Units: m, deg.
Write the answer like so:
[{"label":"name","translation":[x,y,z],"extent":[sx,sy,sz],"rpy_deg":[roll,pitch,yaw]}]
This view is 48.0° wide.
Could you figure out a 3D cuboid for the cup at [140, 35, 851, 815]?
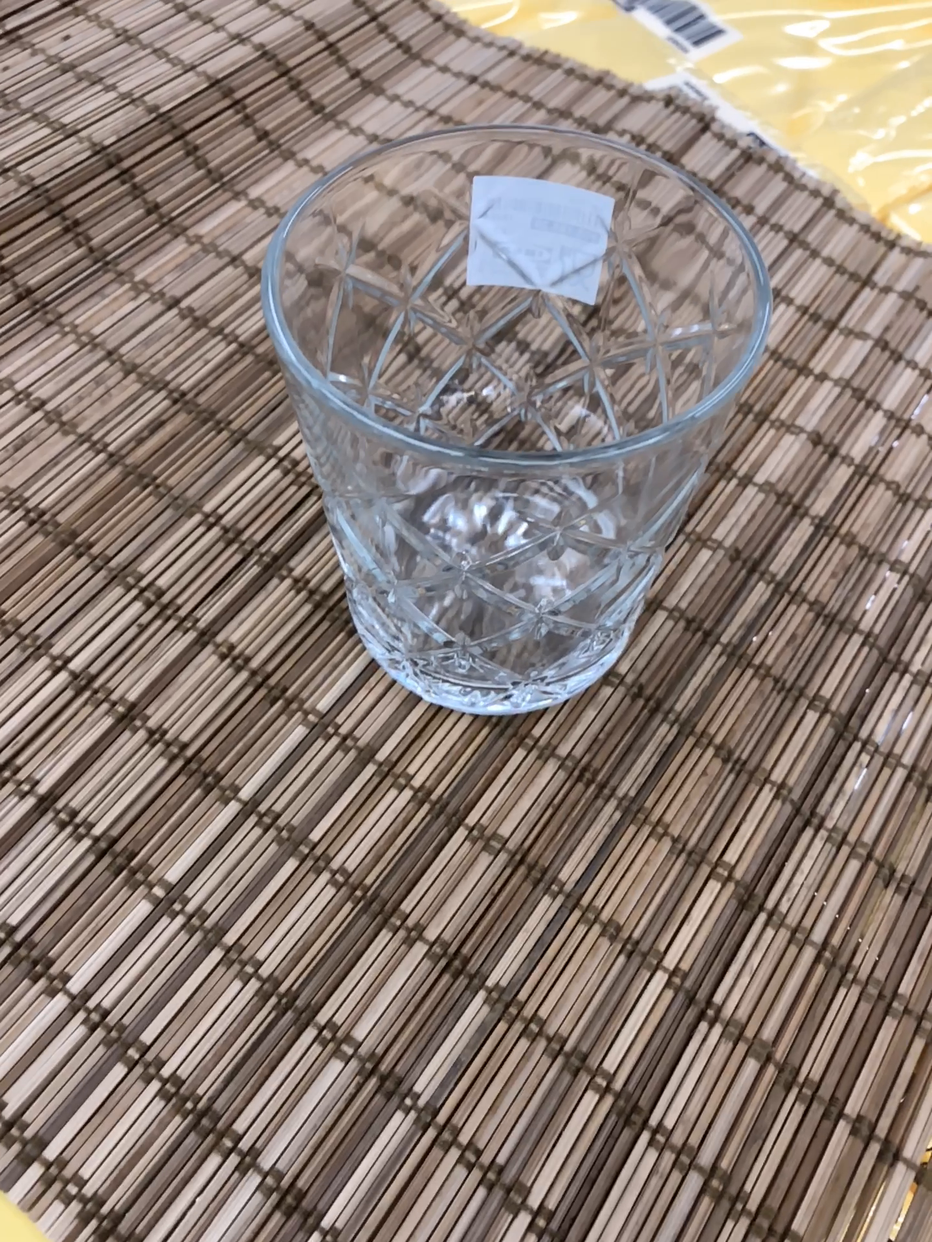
[{"label":"cup","translation":[0.005,-0.033,0.193],"extent":[0.080,0.090,0.080],"rpy_deg":[3,56,-4]}]
